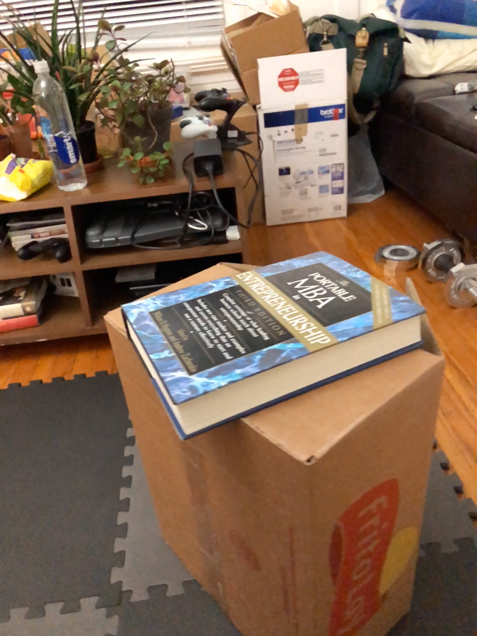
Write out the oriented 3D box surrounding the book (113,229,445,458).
[{"bbox_3d":[0.031,0.003,0.548,0.270,0.060,0.211,-20,33,-17],"label":"book"}]
